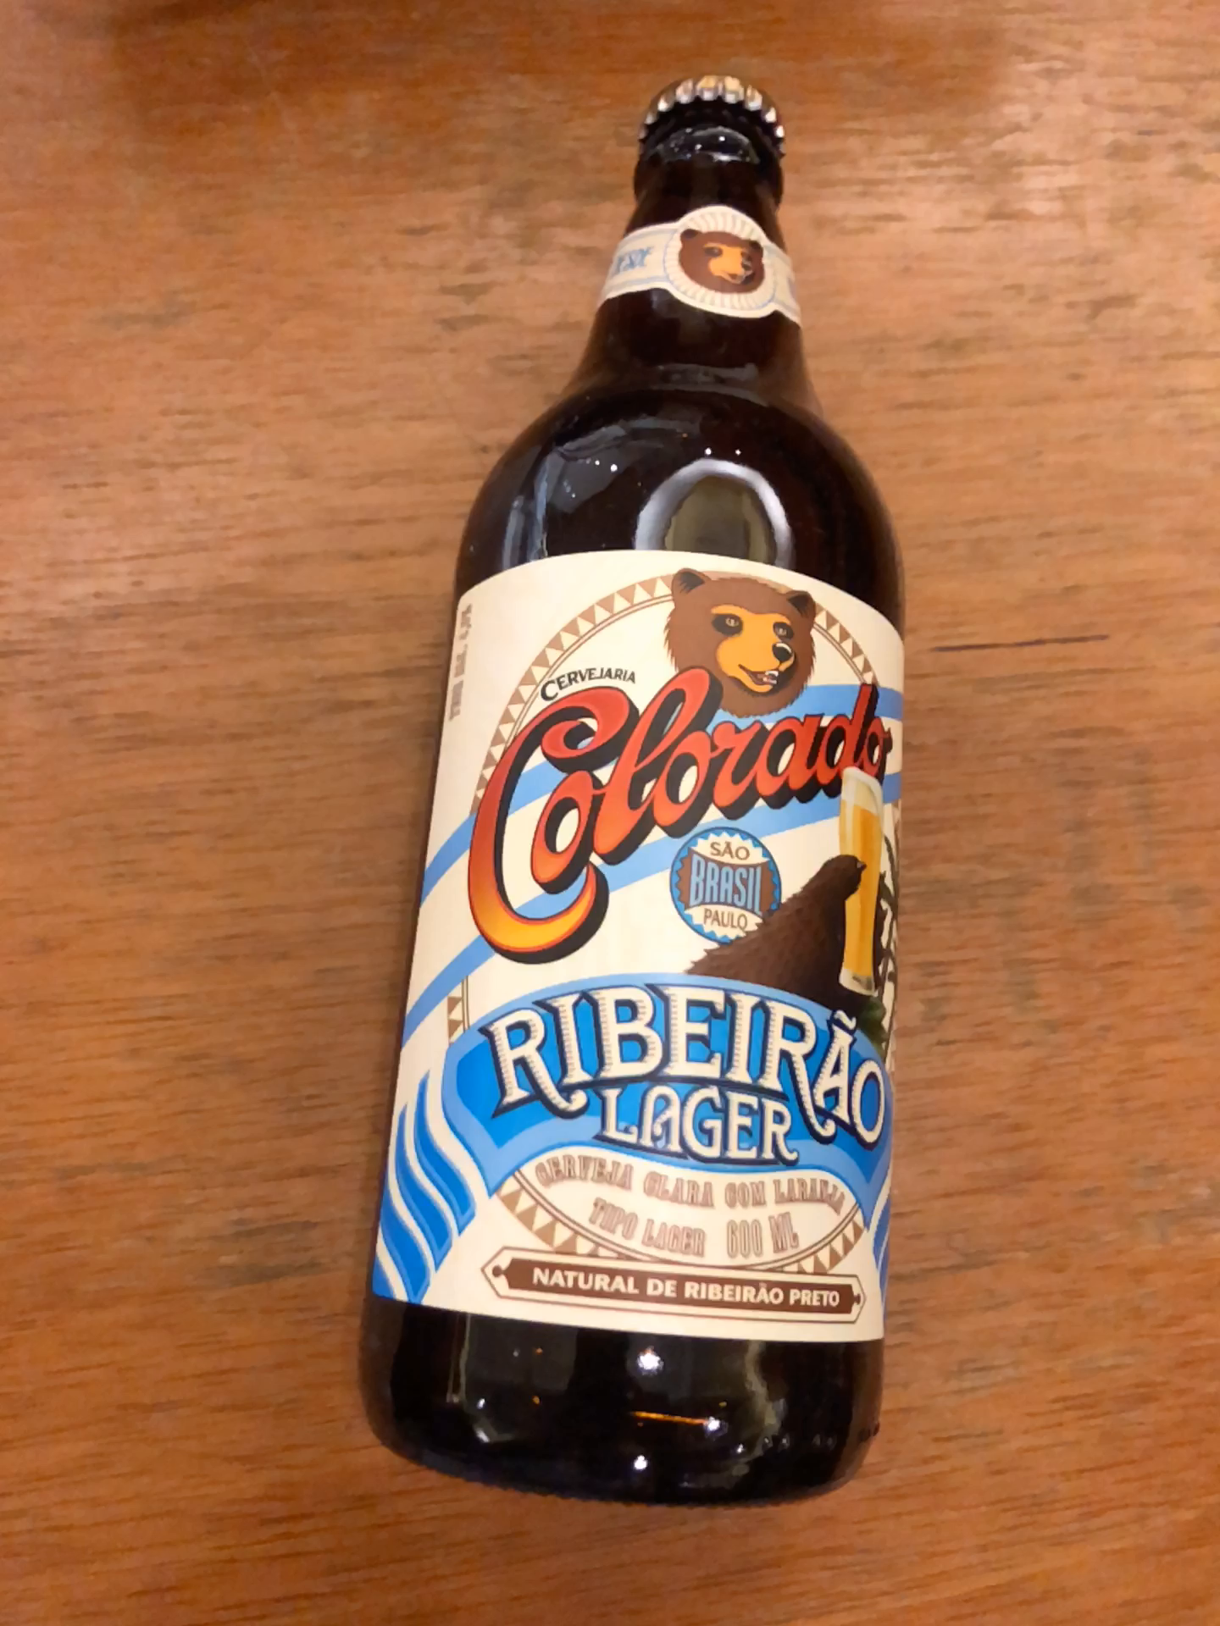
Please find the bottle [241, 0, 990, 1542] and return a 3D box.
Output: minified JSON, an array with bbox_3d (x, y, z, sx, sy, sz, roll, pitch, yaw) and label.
[{"bbox_3d":[0.009,-0.031,0.230,0.090,0.060,0.260,6,74,-3],"label":"bottle"}]
